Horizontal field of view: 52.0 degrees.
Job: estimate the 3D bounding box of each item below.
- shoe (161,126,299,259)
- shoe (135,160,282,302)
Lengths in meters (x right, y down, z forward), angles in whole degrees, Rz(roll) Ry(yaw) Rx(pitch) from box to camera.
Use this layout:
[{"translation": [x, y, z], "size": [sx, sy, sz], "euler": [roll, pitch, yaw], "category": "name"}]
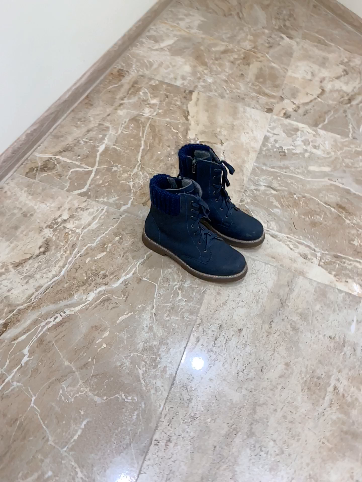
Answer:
[{"translation": [0.098, -0.106, 0.850], "size": [0.260, 0.199, 0.102], "euler": [25, 55, 11], "category": "shoe"}, {"translation": [0.042, -0.016, 0.776], "size": [0.260, 0.199, 0.102], "euler": [25, 55, 11], "category": "shoe"}]
